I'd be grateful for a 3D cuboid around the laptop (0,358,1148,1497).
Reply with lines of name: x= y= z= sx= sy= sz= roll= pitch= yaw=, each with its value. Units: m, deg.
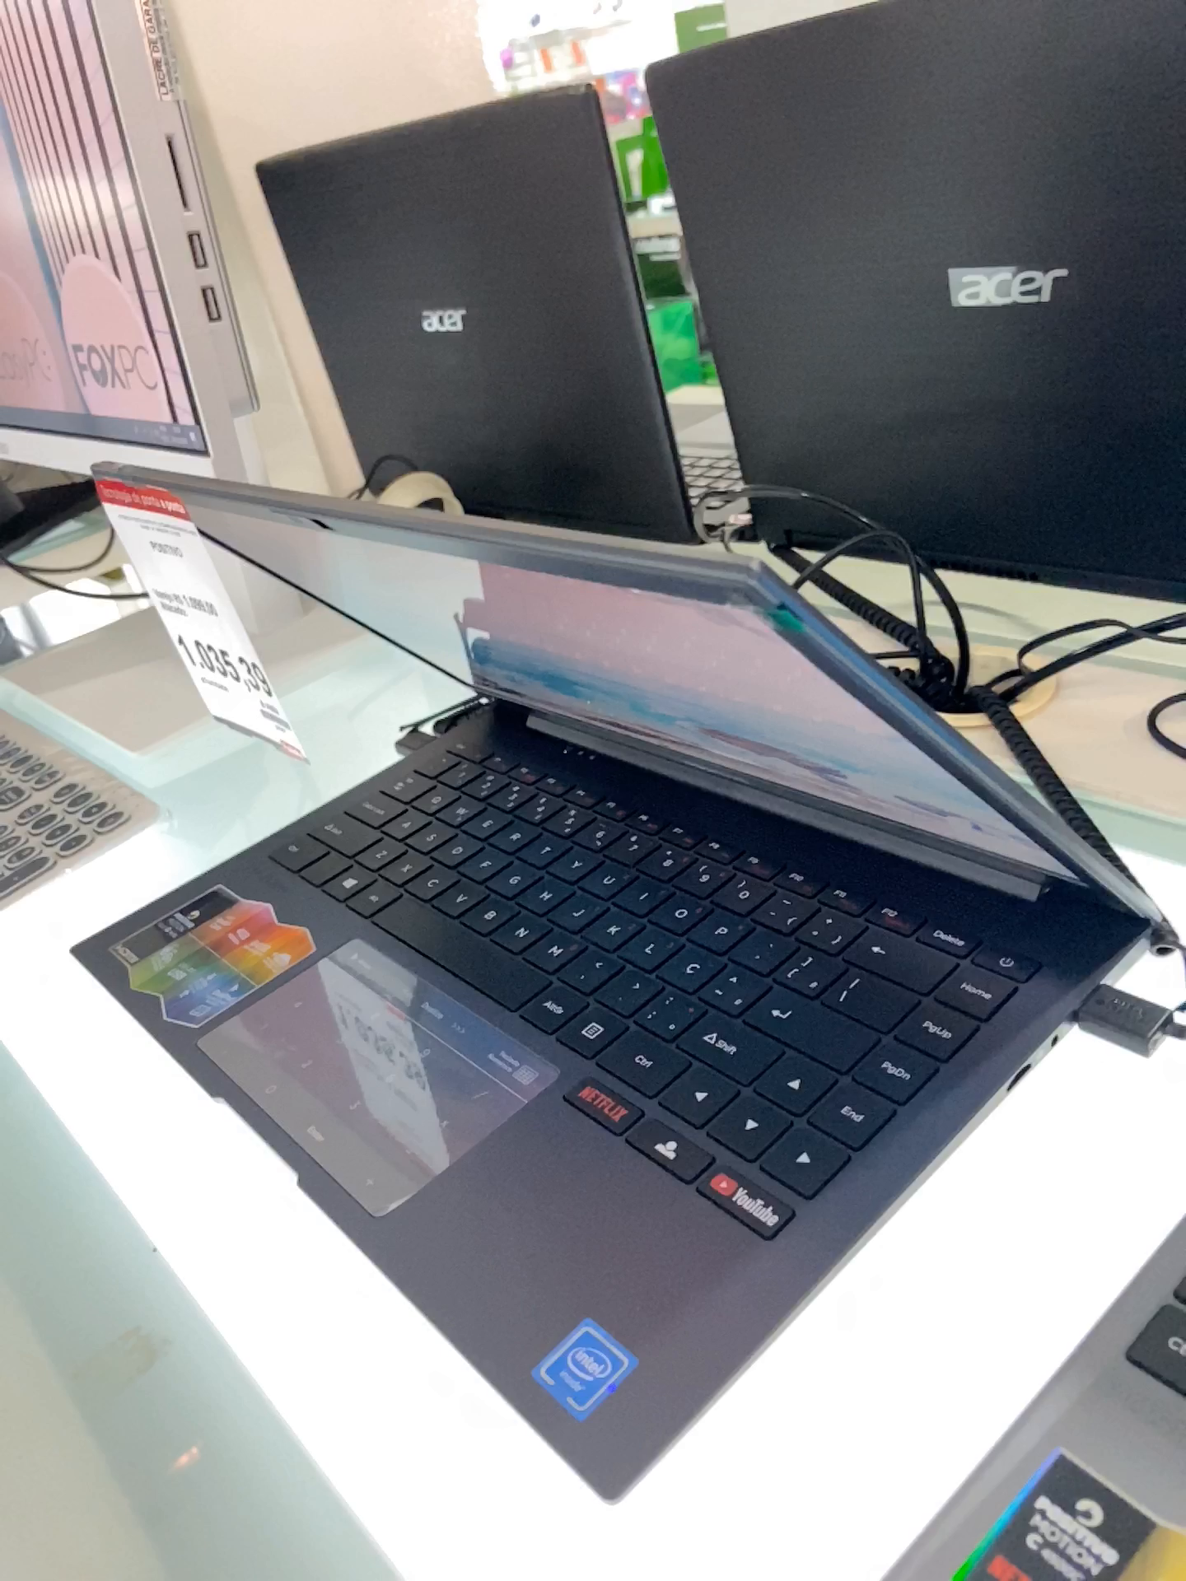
laptop: x=-0.041 y=-0.018 z=0.393 sx=0.222 sy=0.163 sz=0.335 roll=-33 pitch=34 yaw=-29
